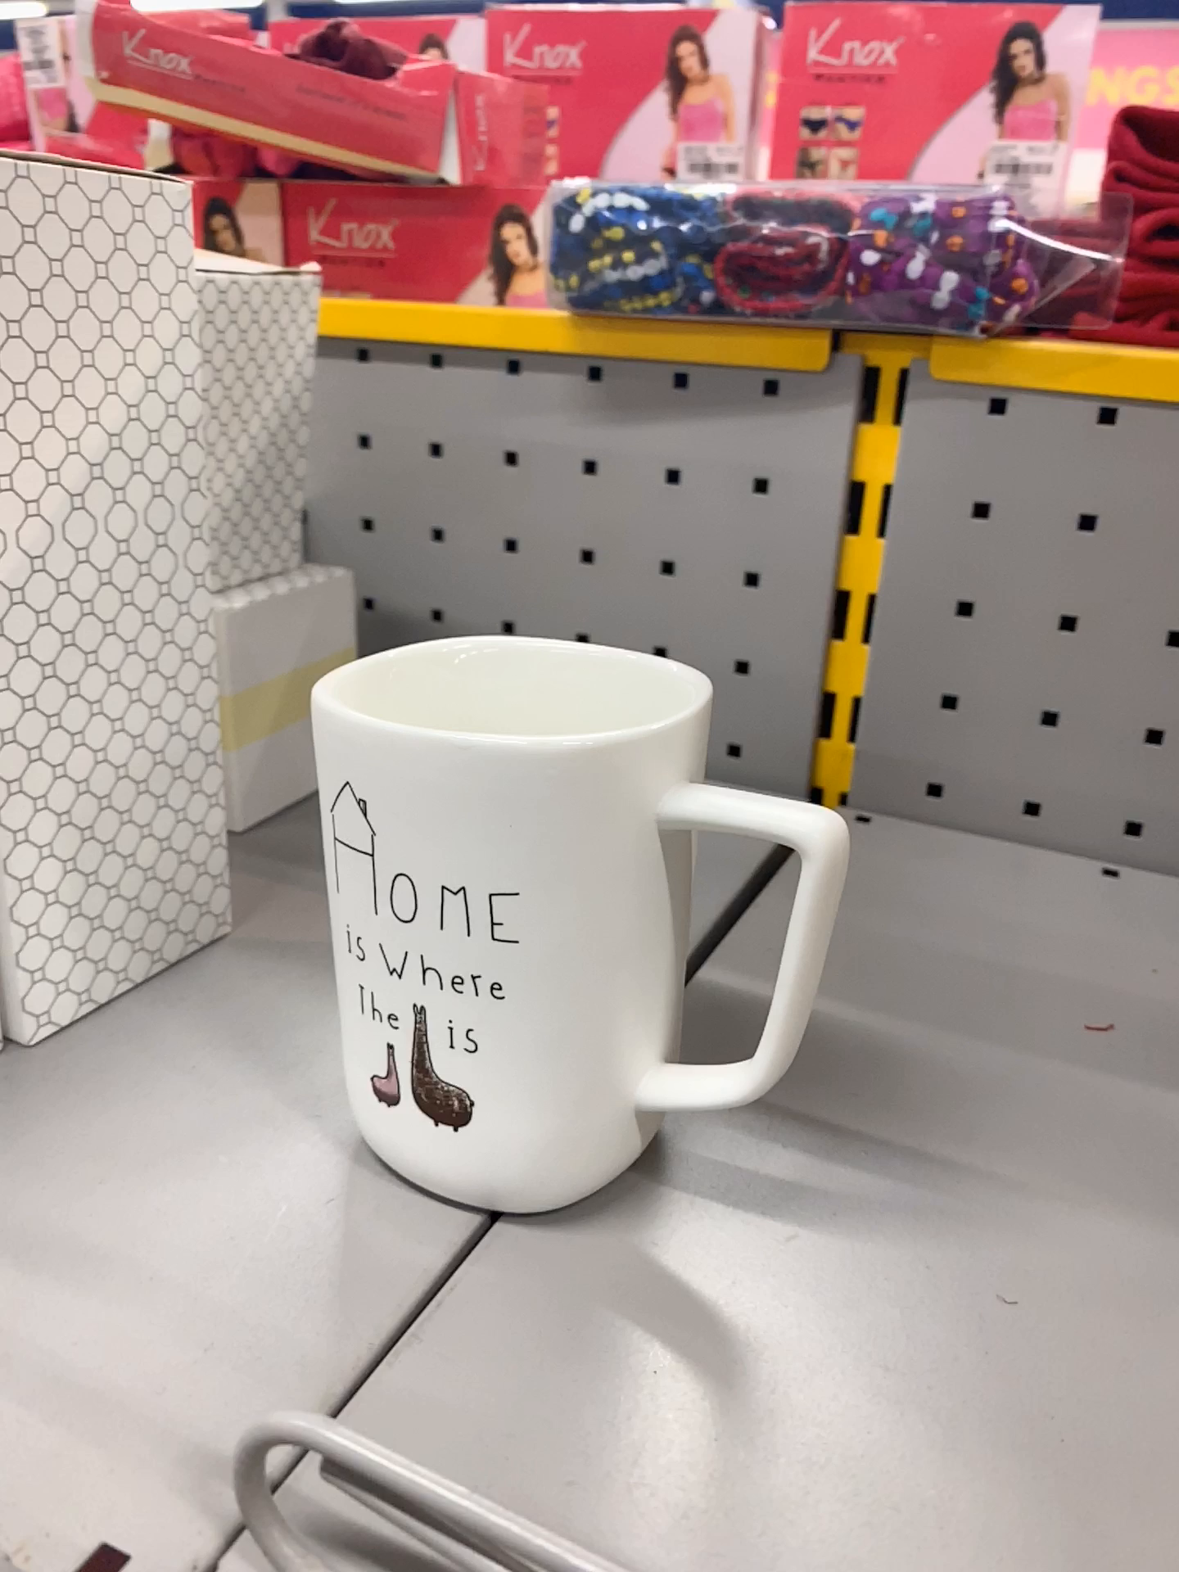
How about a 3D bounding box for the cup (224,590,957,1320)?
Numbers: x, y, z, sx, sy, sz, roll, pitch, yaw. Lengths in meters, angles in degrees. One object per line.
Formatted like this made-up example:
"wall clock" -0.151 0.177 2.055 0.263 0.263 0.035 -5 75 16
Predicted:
"cup" 0.000 0.024 0.249 0.120 0.100 0.070 12 23 22
